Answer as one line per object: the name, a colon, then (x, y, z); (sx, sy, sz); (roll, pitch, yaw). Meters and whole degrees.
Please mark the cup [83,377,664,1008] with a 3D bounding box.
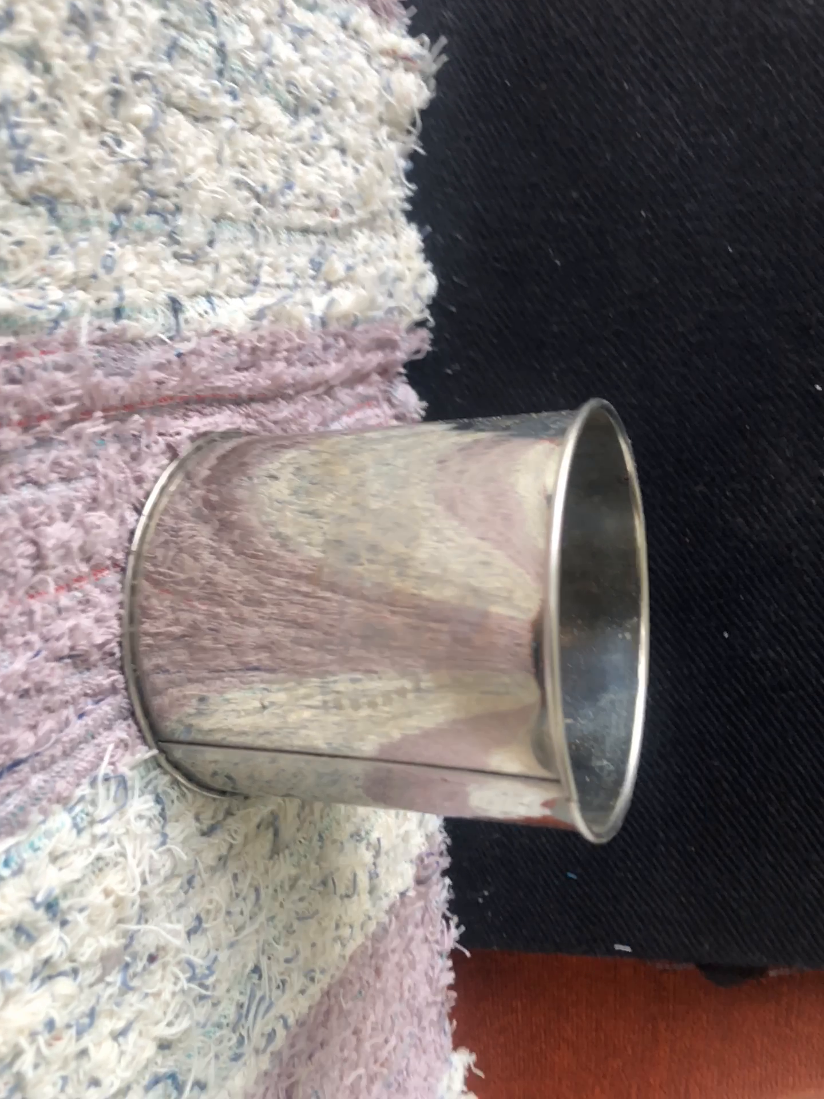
cup: (0.002, 0.016, 0.180); (0.080, 0.079, 0.090); (-30, 118, -65)
